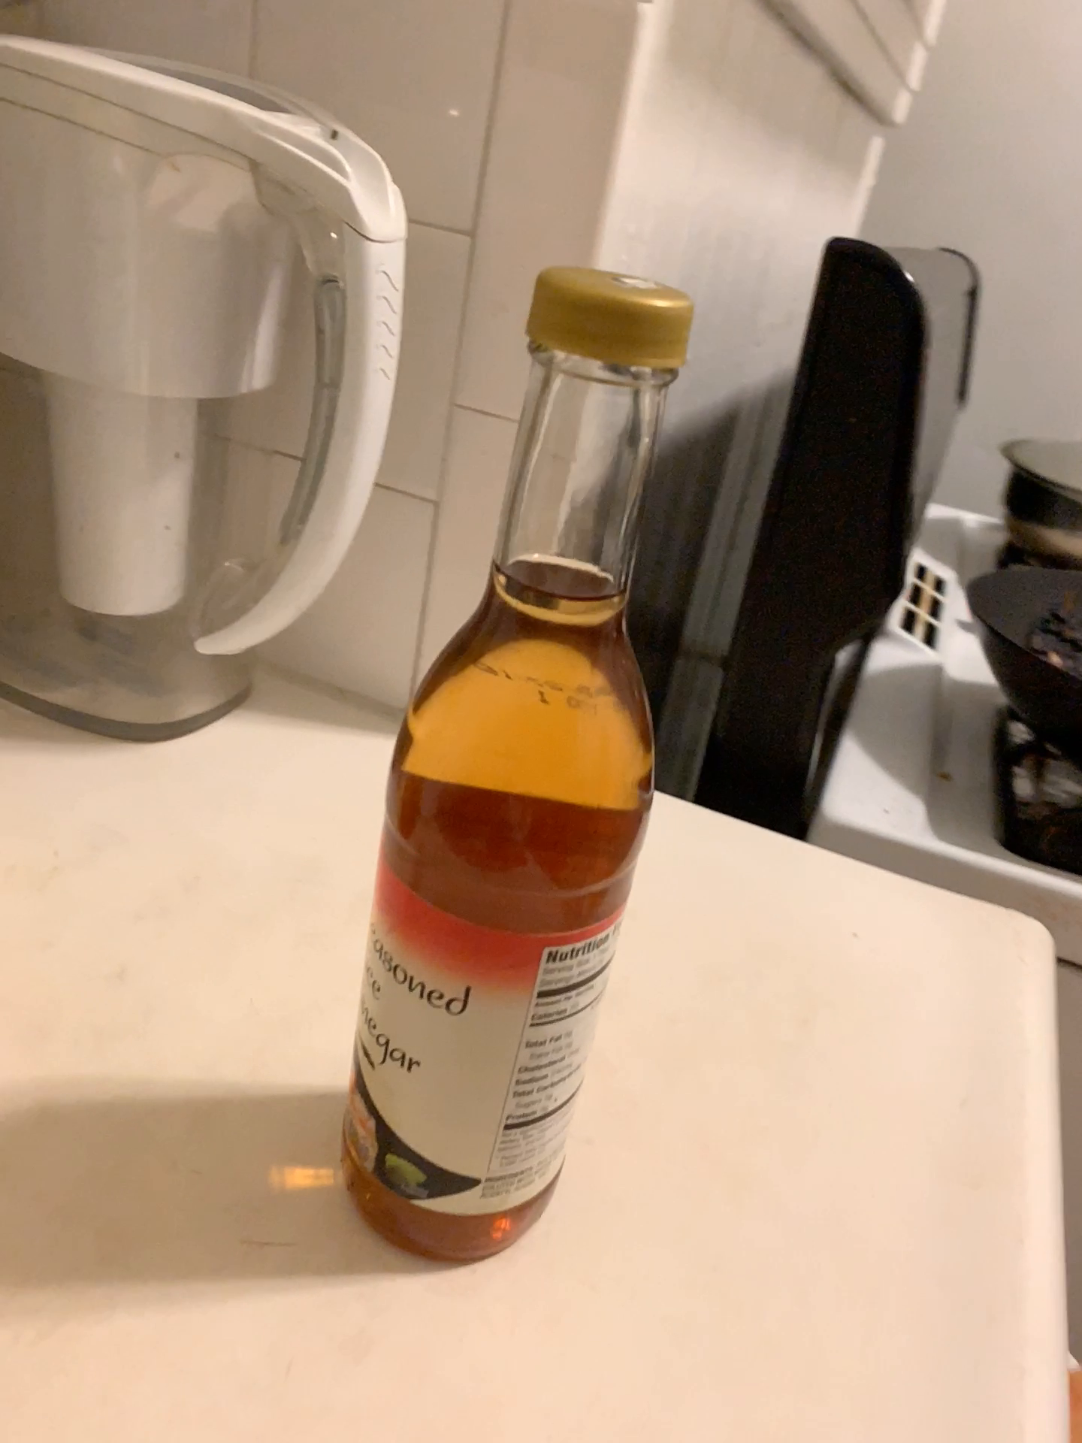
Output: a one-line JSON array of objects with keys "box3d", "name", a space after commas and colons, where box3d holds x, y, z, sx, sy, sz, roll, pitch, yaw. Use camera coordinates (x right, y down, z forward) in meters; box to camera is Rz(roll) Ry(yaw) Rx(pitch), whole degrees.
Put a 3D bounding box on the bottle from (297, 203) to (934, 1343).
[{"box3d": [0.002, 0.020, 0.256, 0.070, 0.239, 0.070, 9, 27, -5], "name": "bottle"}]
